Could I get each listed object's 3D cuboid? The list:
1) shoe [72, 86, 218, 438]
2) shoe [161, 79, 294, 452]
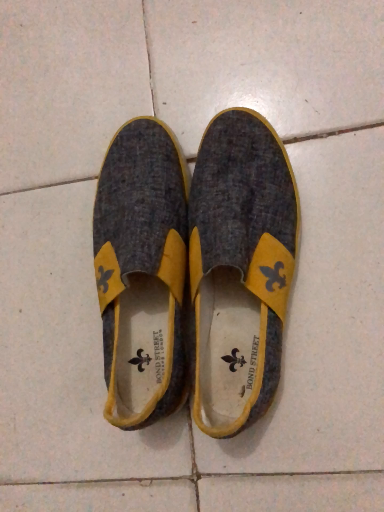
[{"bbox_3d":[-0.042,0.007,0.407,0.100,0.100,0.290,-5,83,12],"label":"shoe"},{"bbox_3d":[0.037,0.006,0.354,0.090,0.100,0.260,0,84,12],"label":"shoe"}]
